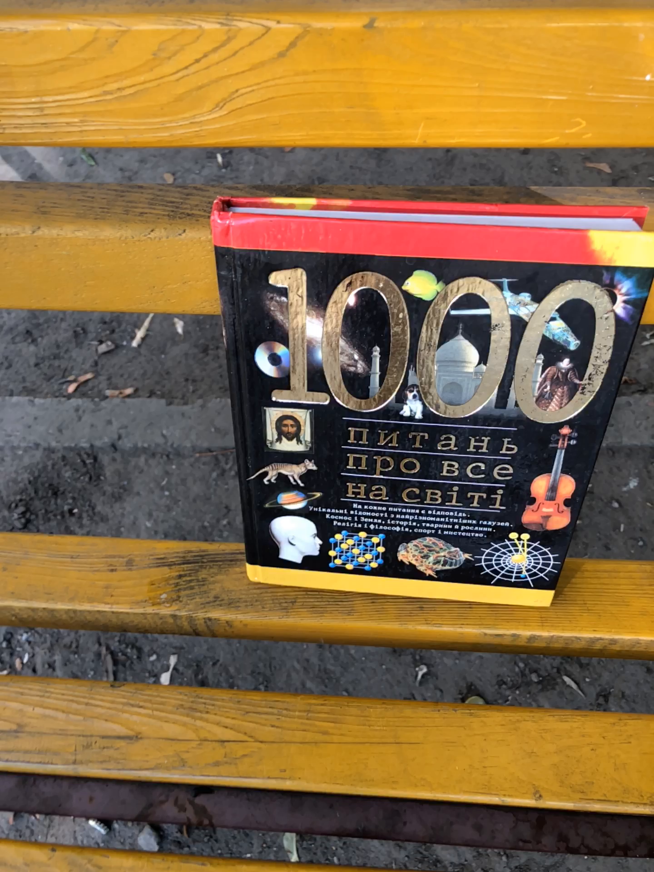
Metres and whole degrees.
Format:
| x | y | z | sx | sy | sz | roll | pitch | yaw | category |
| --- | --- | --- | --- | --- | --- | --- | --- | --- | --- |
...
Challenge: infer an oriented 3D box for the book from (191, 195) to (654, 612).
| x | y | z | sx | sy | sz | roll | pitch | yaw | category |
| --- | --- | --- | --- | --- | --- | --- | --- | --- | --- |
| 0.037 | -0.003 | 0.334 | 0.172 | 0.201 | 0.032 | 4 | 38 | 5 | book |
